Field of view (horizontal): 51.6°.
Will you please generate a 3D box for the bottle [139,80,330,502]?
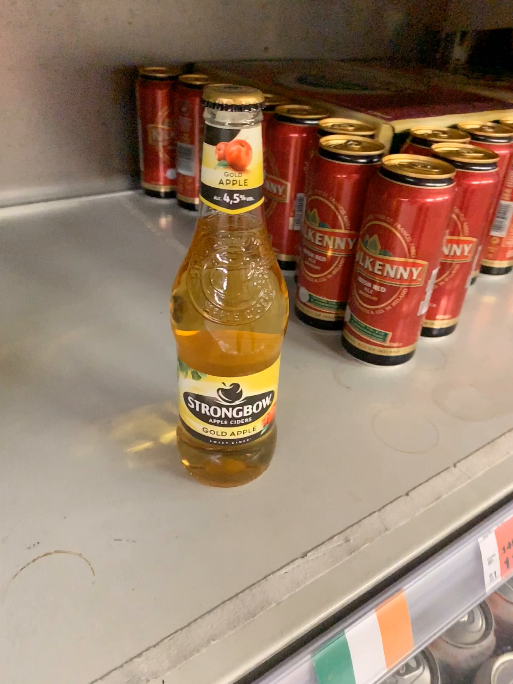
[{"bbox_3d":[-0.018,-0.018,0.319,0.080,0.239,0.080,3,32,-2],"label":"bottle"}]
